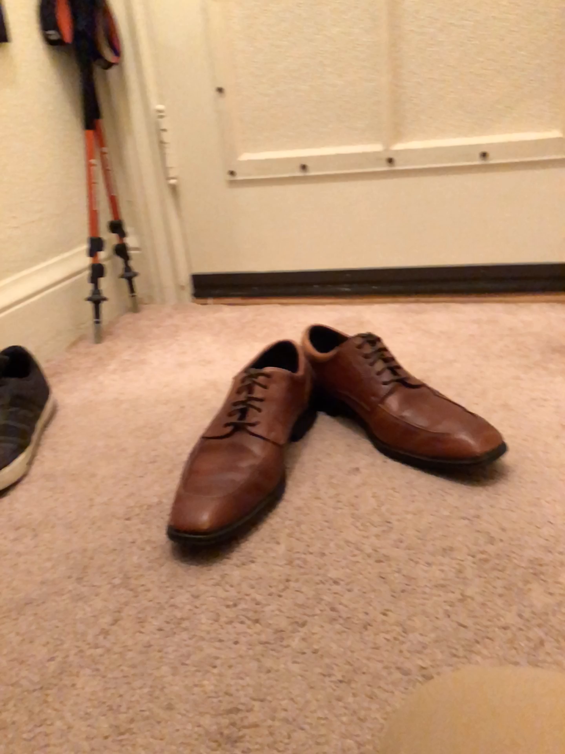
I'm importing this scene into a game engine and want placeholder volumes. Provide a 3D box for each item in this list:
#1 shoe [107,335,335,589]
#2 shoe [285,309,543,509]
[{"bbox_3d":[-0.043,0.068,0.677,0.120,0.119,0.302,3,26,20],"label":"shoe"},{"bbox_3d":[0.134,0.018,0.718,0.100,0.109,0.301,-20,28,-28],"label":"shoe"}]
